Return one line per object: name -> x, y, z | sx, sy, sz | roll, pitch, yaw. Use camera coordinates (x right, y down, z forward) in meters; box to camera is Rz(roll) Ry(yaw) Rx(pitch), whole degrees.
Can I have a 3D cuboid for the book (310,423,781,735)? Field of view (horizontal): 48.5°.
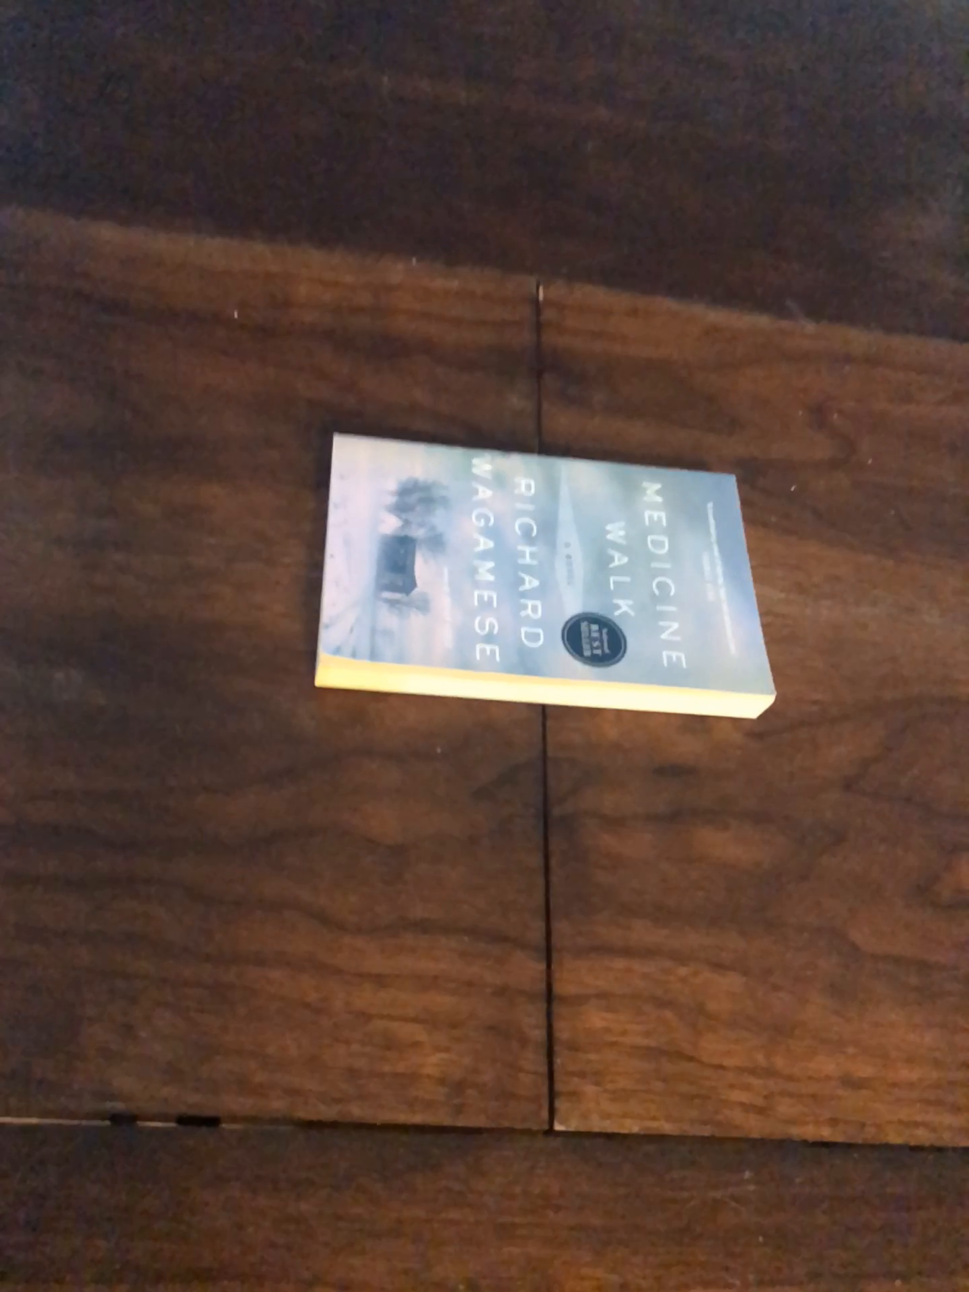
book -> 0.027, -0.033, 0.508 | 0.206, 0.027, 0.138 | 5, 59, -8
